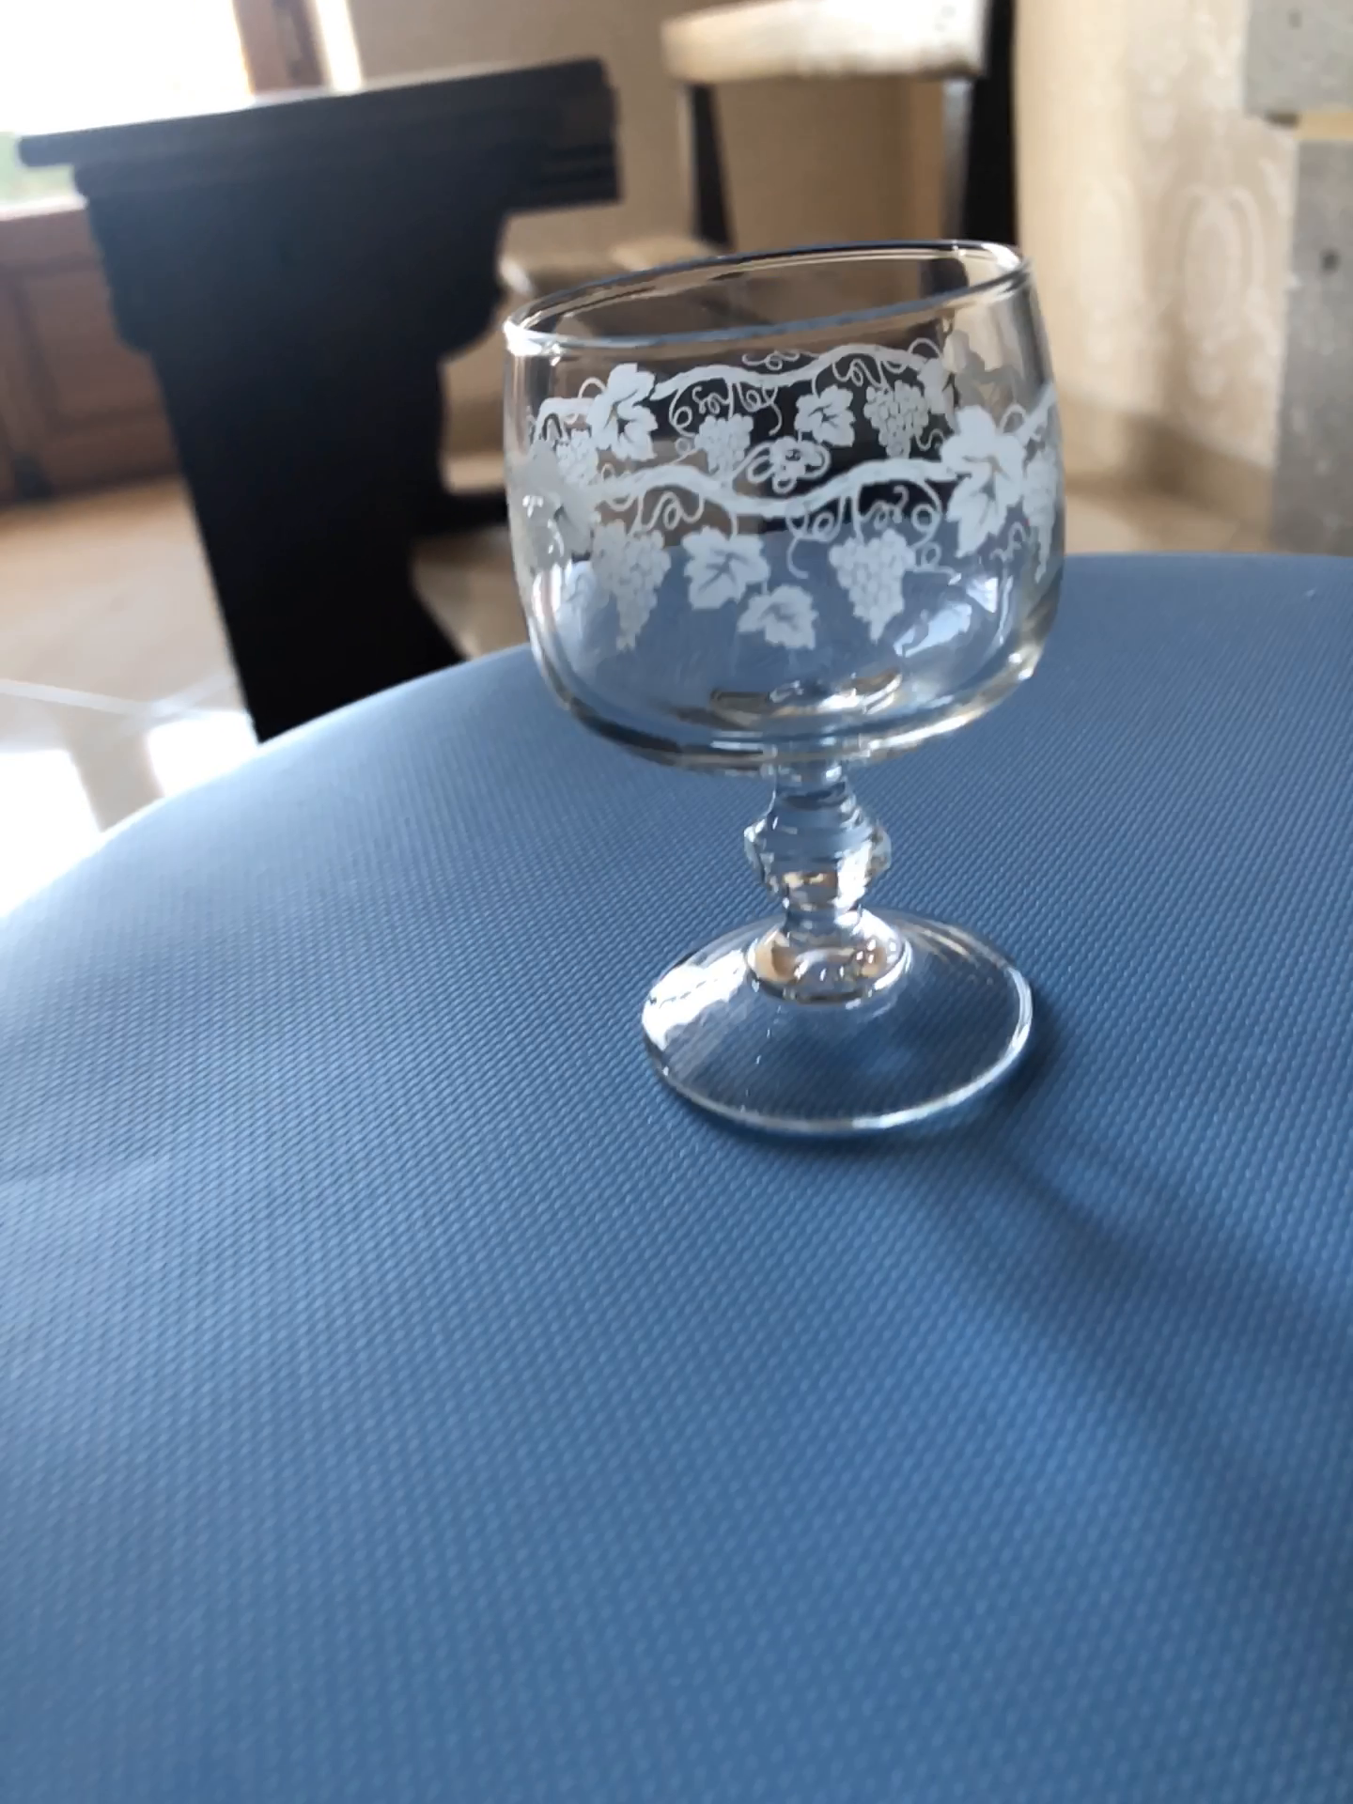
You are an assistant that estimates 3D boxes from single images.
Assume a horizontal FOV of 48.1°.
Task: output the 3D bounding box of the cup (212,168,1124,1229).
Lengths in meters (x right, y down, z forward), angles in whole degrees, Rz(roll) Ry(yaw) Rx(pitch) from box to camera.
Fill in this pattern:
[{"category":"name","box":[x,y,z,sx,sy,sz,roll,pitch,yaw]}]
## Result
[{"category":"cup","box":[0.007,-0.024,0.153,0.060,0.080,0.060,-6,29,4]}]
